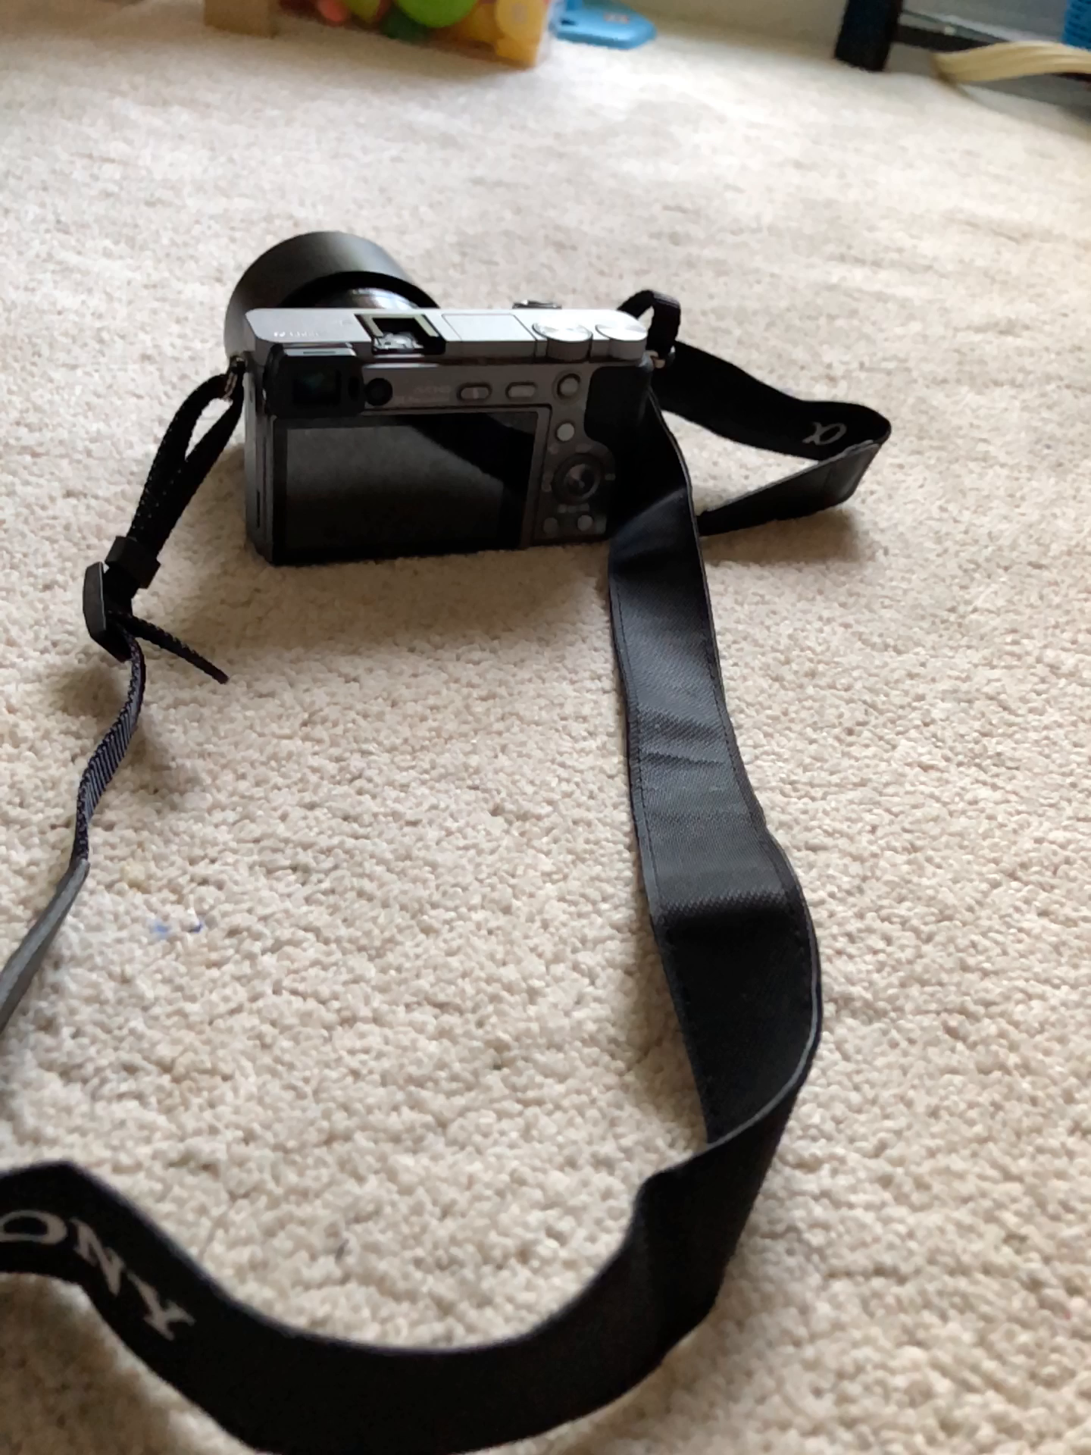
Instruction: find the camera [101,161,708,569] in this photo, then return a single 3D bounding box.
[{"bbox_3d":[-0.047,-0.111,0.357,0.140,0.070,0.110,-9,41,-24],"label":"camera"}]
